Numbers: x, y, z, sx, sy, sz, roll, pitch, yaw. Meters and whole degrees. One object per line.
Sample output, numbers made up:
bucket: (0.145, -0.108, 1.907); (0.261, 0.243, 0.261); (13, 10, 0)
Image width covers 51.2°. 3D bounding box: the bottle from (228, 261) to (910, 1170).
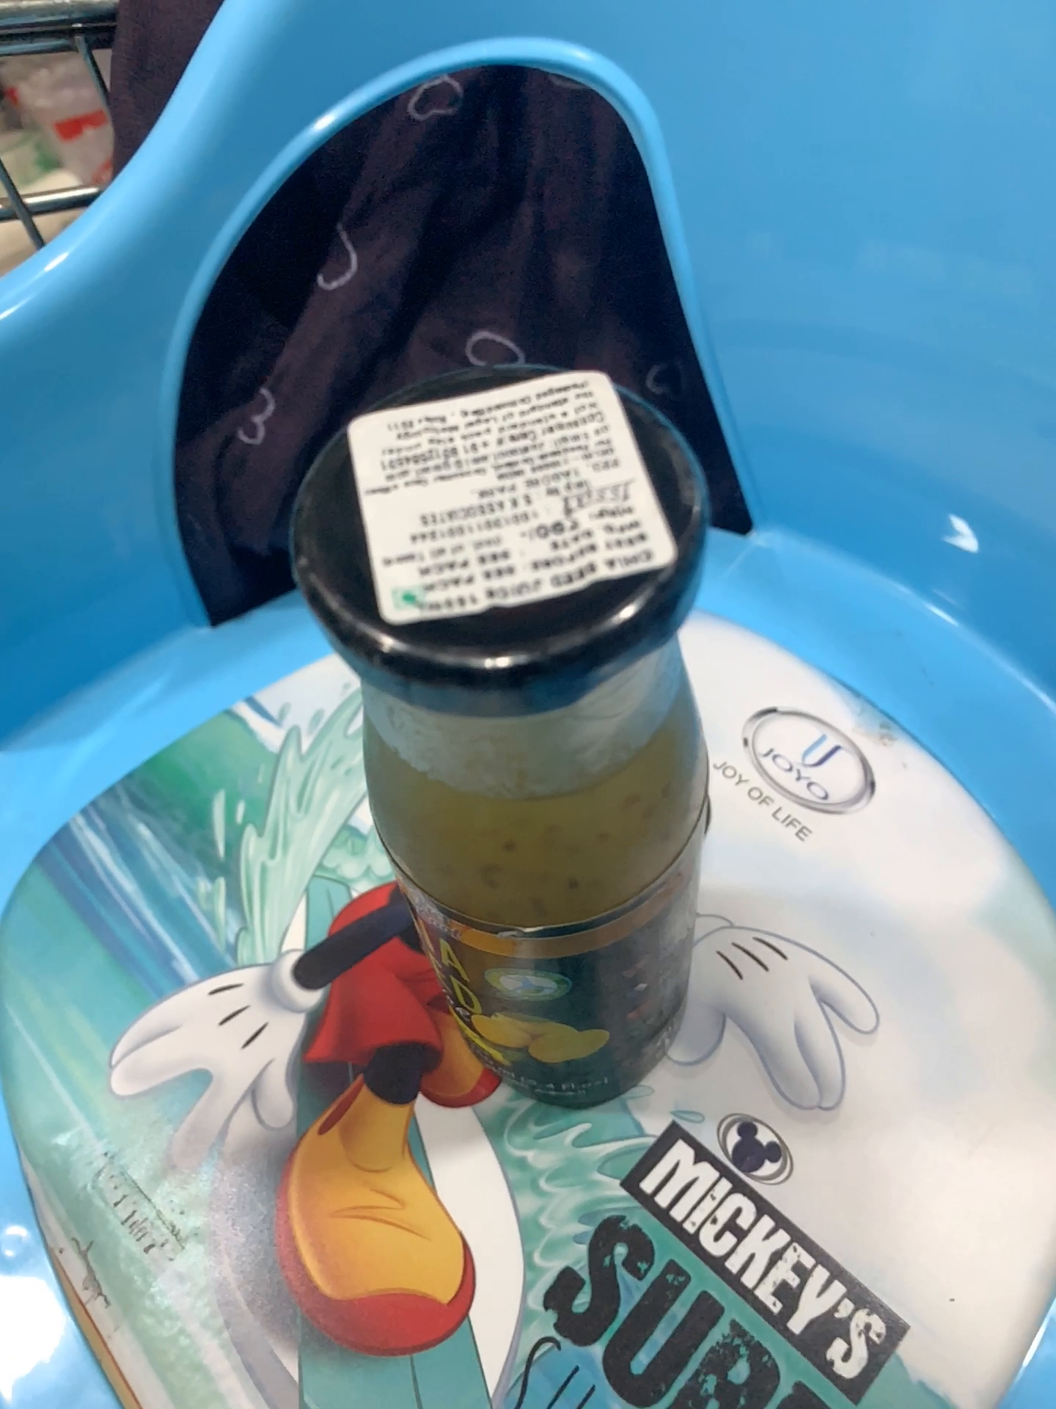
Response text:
bottle: (0.005, 0.016, 0.170); (0.050, 0.140, 0.050); (-1, 53, 1)
